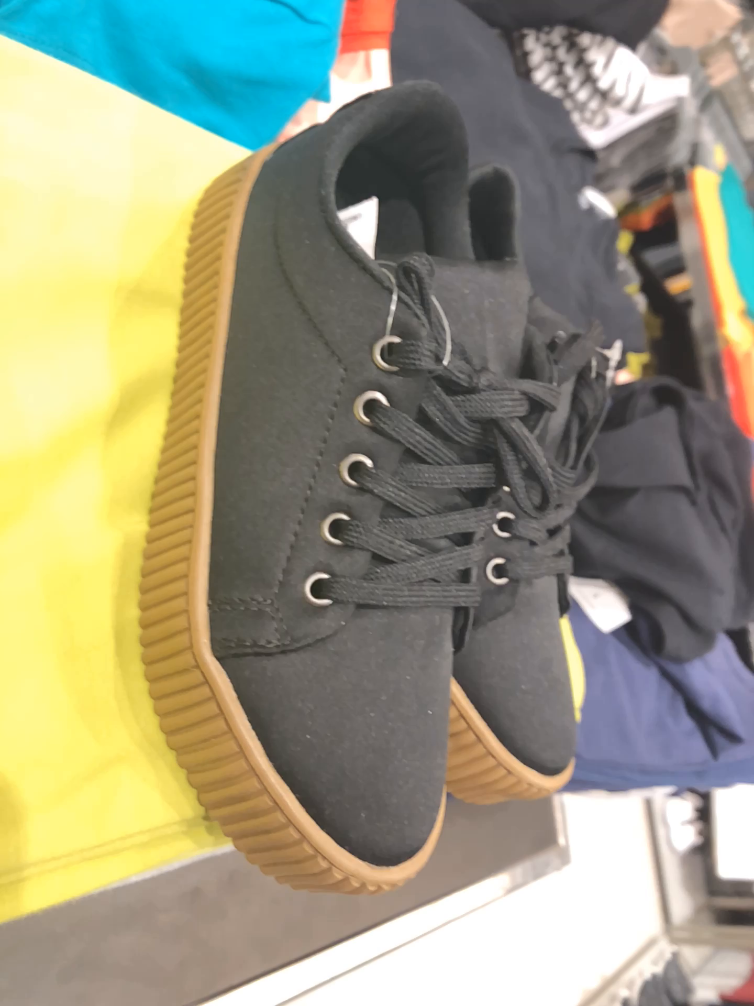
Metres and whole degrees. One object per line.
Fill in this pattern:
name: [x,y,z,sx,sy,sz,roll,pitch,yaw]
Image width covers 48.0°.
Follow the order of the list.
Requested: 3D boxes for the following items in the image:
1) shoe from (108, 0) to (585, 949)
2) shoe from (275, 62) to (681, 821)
shoe: [-0.014,-0.013,0.244,0.091,0.079,0.230,12,67,-50]
shoe: [0.035,-0.017,0.316,0.091,0.079,0.240,6,72,-51]
